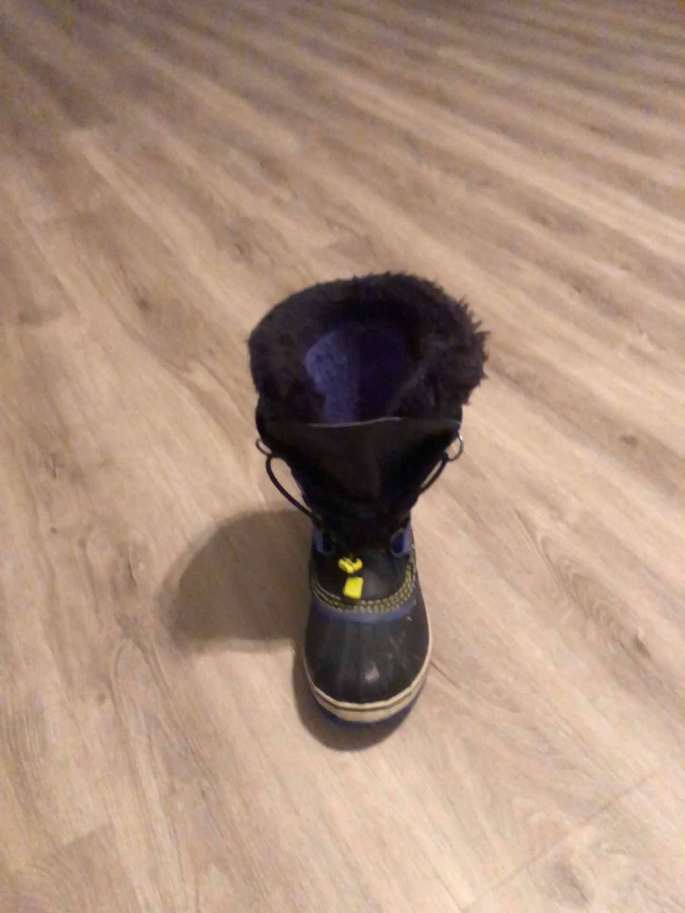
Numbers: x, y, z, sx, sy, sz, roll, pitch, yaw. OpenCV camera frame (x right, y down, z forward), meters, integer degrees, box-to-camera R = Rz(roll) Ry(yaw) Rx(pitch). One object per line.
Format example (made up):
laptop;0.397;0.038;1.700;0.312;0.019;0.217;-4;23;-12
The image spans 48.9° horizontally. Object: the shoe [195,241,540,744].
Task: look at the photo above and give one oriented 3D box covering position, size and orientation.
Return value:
shoe;0.020;0.024;0.550;0.170;0.269;0.241;2;41;3
